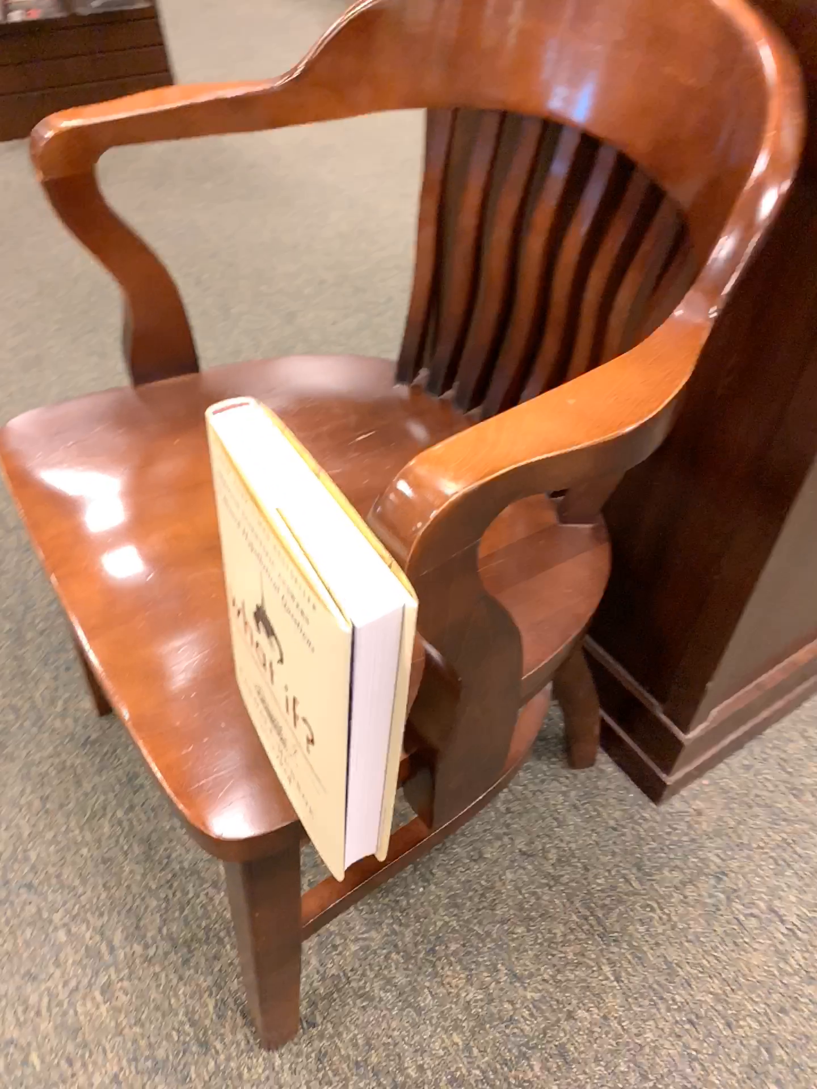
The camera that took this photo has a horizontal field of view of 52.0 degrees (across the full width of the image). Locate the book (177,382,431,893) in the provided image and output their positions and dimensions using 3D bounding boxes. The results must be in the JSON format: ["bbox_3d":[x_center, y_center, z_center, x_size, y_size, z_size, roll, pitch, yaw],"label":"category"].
[{"bbox_3d":[-0.067,0.059,0.495,0.050,0.239,0.188,-19,48,-24],"label":"book"}]
